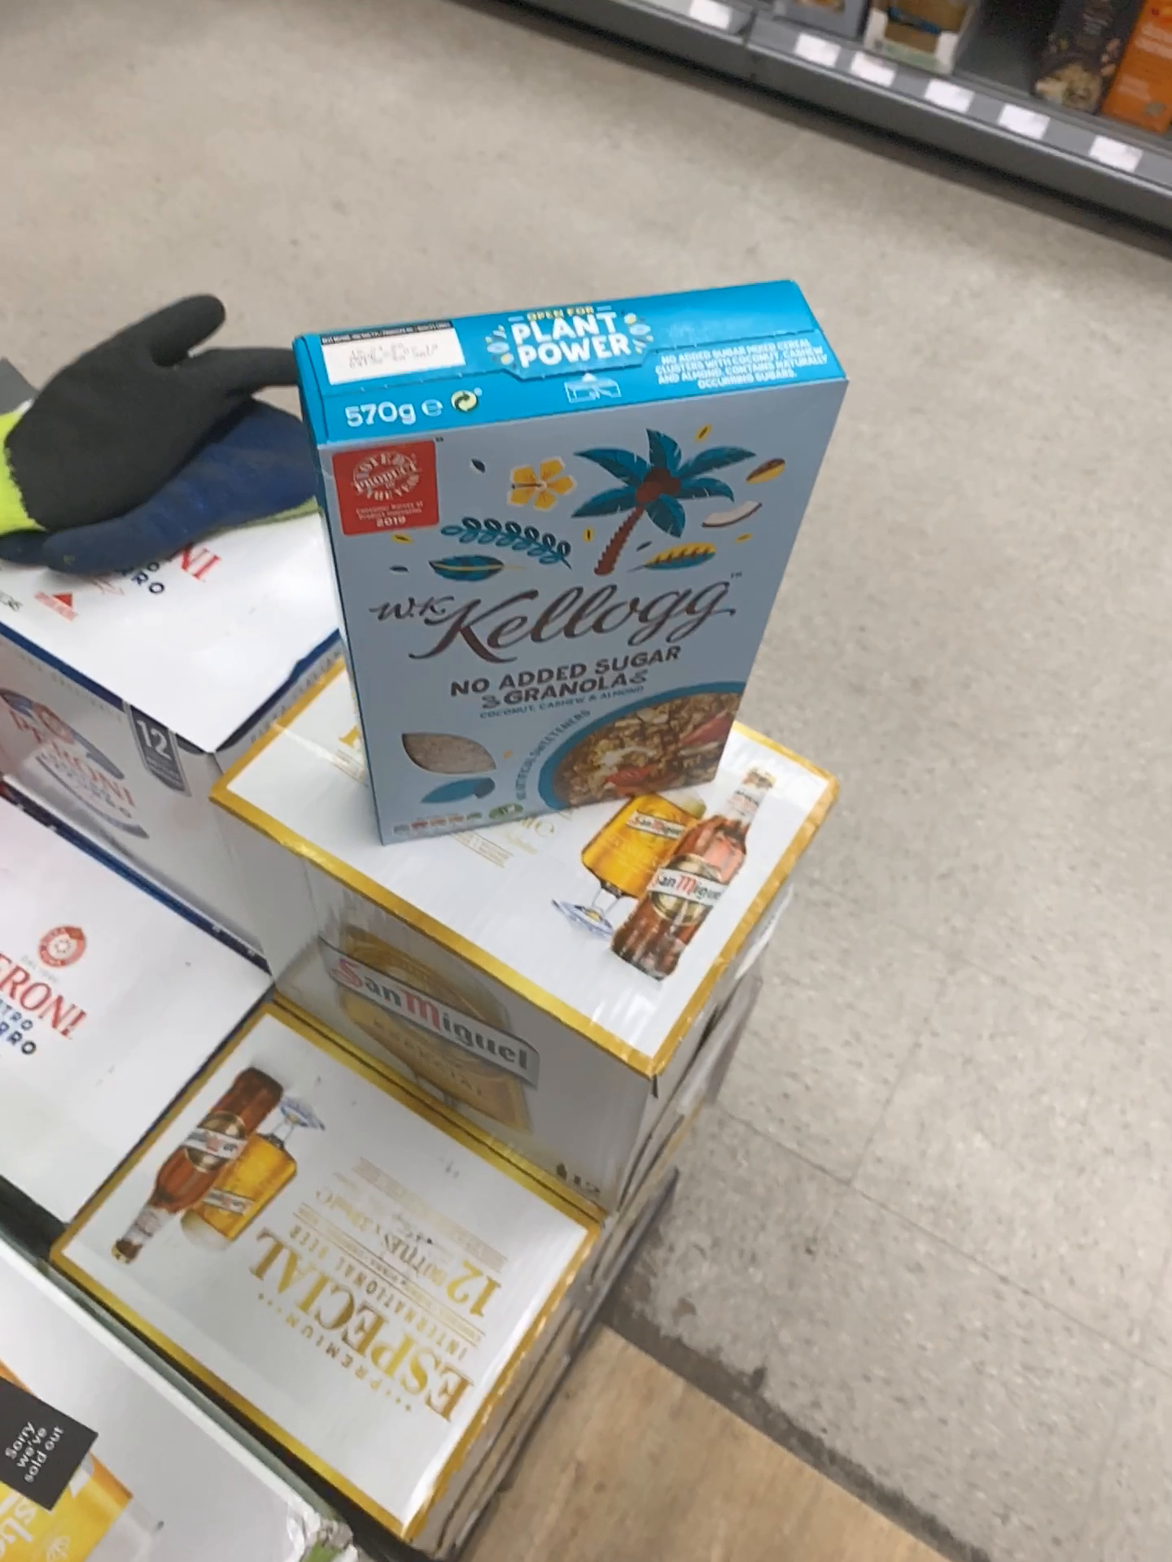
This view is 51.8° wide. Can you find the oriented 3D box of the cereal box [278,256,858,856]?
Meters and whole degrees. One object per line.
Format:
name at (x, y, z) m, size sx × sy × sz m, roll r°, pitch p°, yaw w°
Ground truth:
cereal box at (-0.013, -0.065, 0.455) m, size 0.160 × 0.248 × 0.050 m, roll -11°, pitch 62°, yaw -11°
